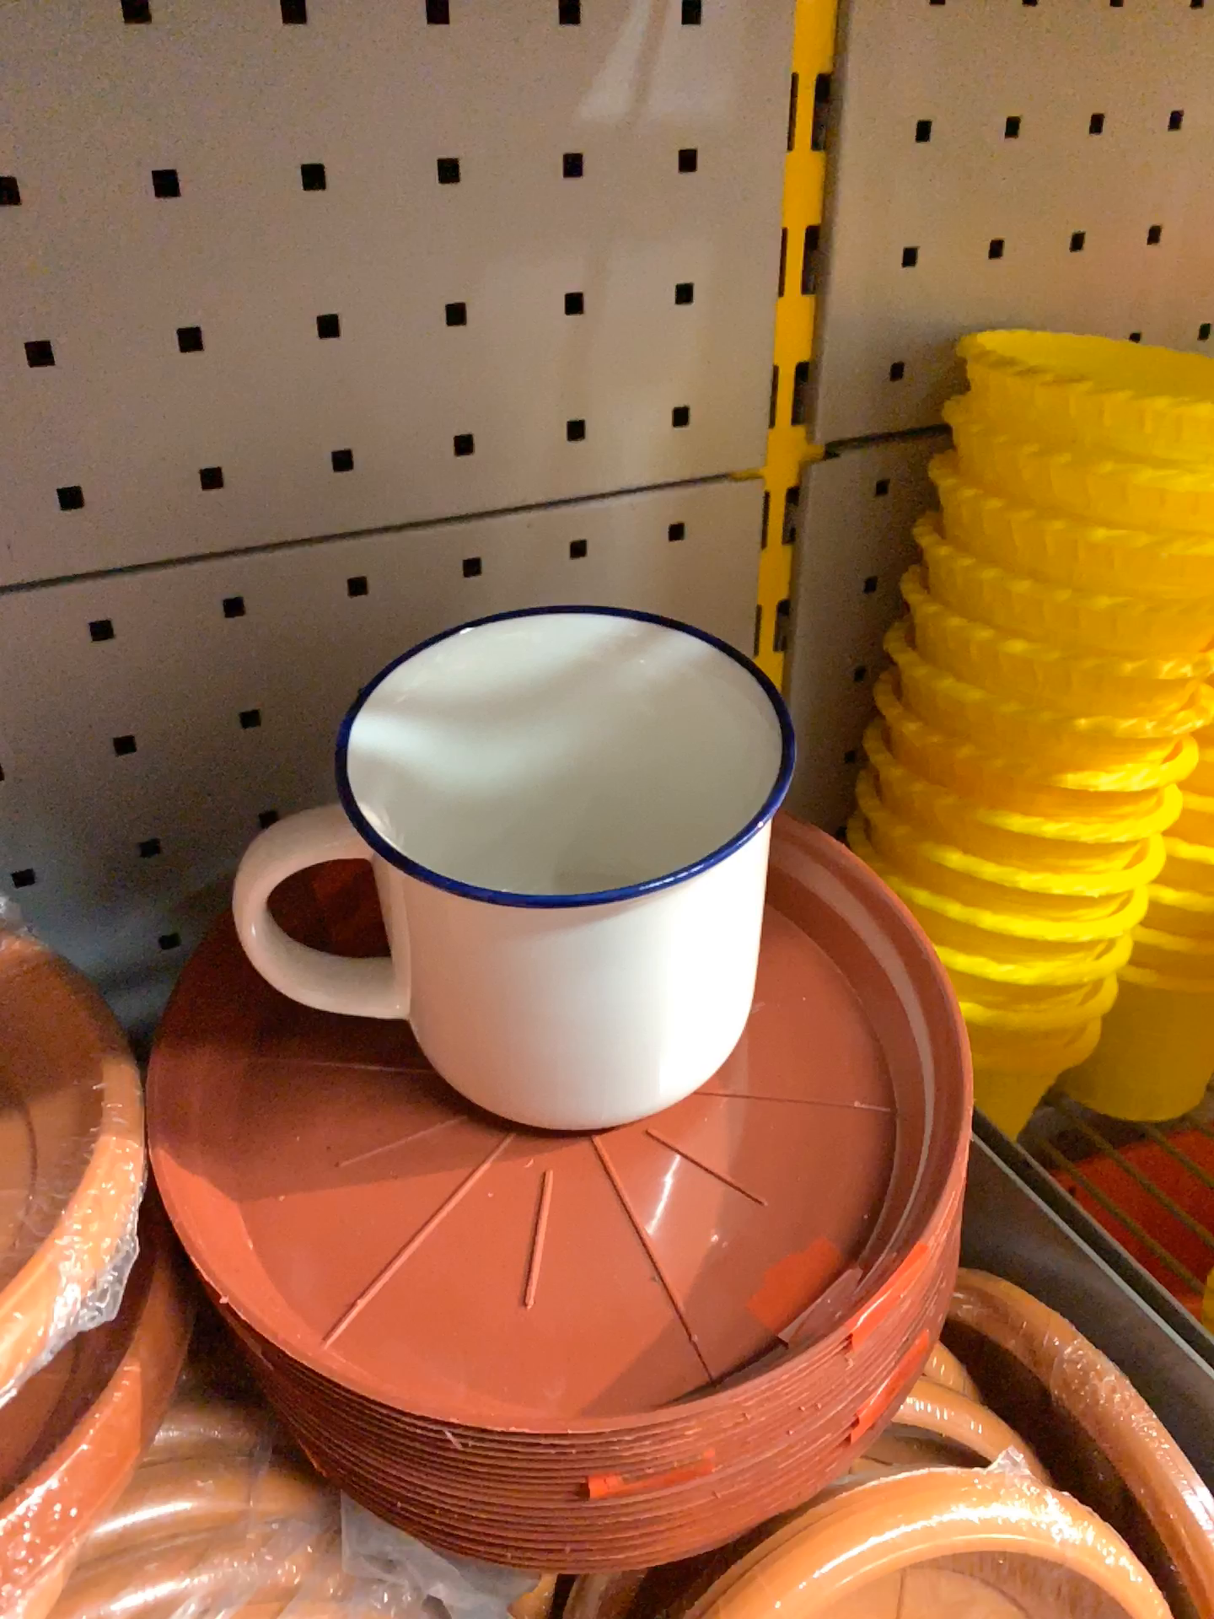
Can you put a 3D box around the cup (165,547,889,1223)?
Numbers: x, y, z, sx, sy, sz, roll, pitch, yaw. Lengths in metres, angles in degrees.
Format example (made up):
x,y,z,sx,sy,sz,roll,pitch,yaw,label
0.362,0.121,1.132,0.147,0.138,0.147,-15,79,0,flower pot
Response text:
x,y,z,sx,sy,sz,roll,pitch,yaw,label
-0.022,0.013,0.267,0.120,0.090,0.090,-8,45,-11,cup
